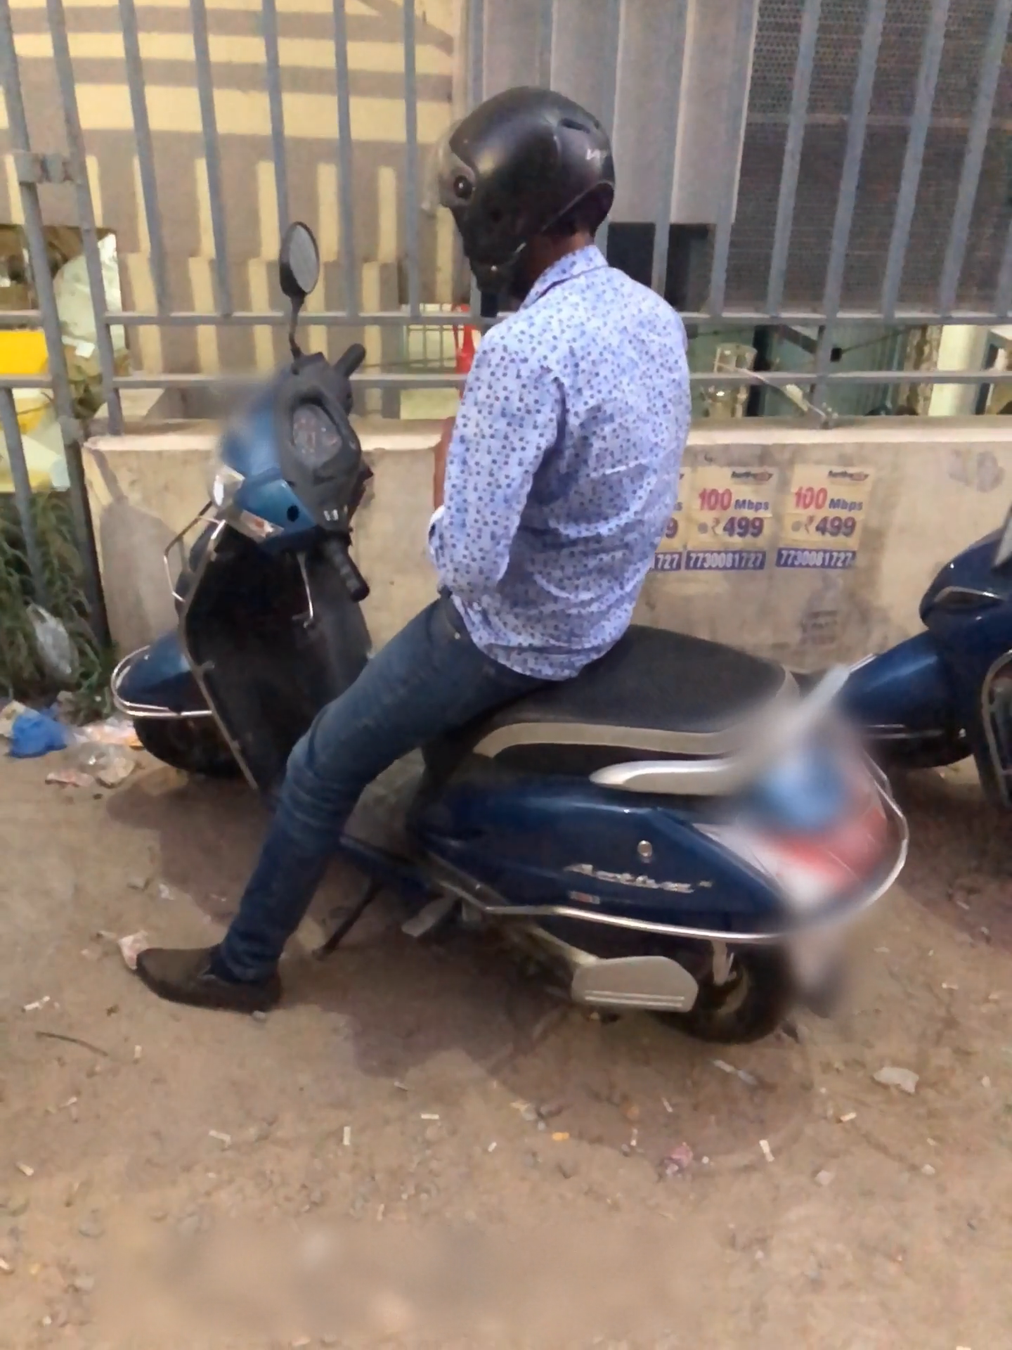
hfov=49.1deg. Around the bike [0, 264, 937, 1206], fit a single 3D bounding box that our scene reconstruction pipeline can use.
[{"bbox_3d":[-0.151,0.024,2.015,1.469,1.130,0.619,17,32,20],"label":"bike"}]
